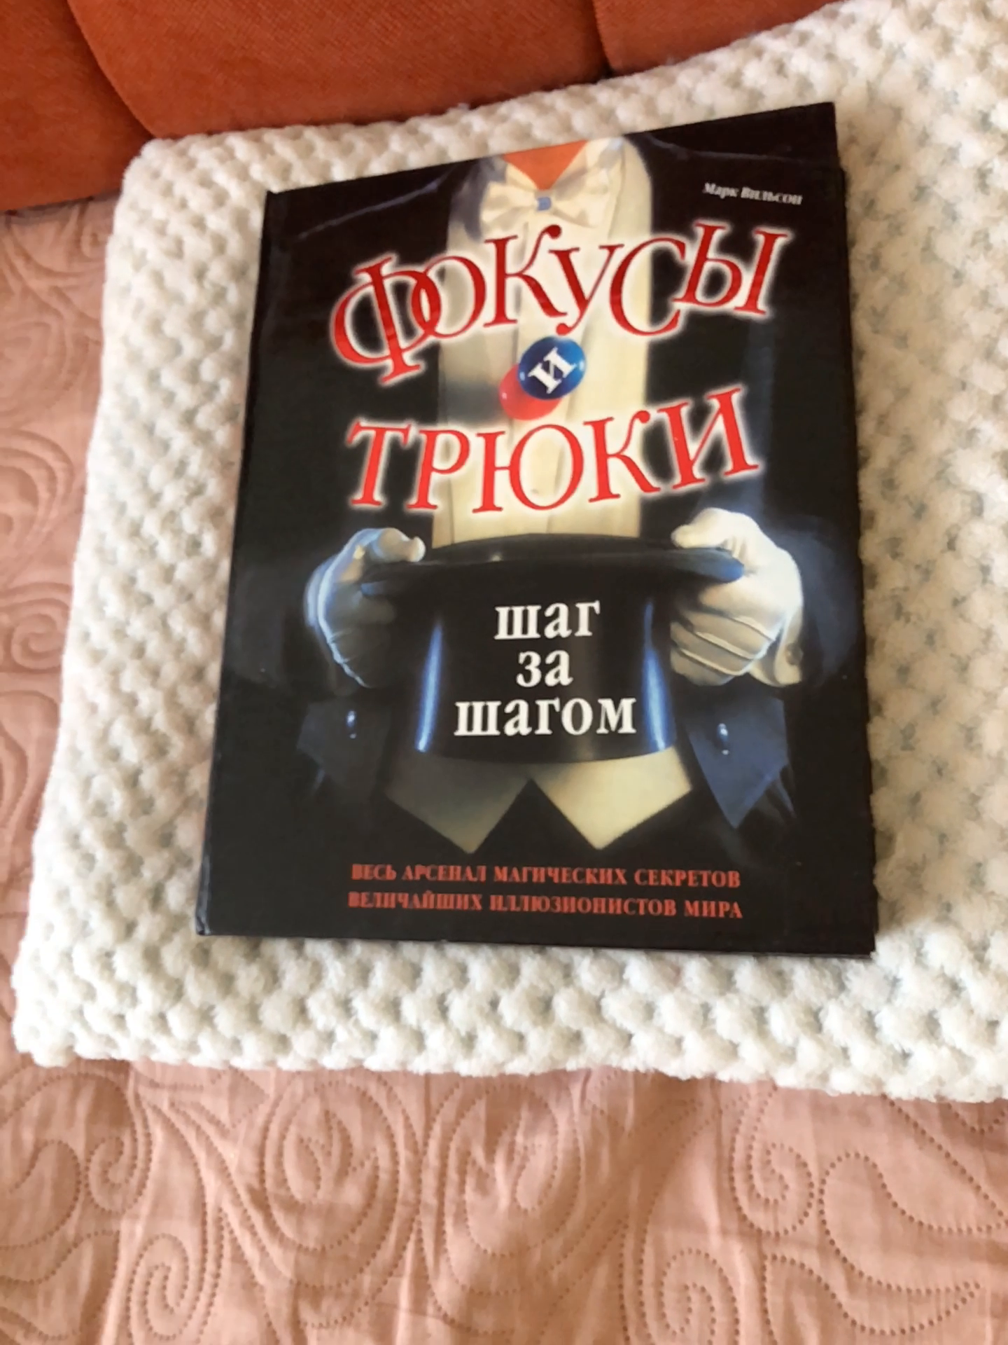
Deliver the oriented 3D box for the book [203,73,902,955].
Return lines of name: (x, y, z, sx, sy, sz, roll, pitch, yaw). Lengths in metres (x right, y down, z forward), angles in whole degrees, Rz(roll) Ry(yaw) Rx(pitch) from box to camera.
book: (0.014, -0.050, 0.365, 0.200, 0.040, 0.270, -3, 75, 16)
